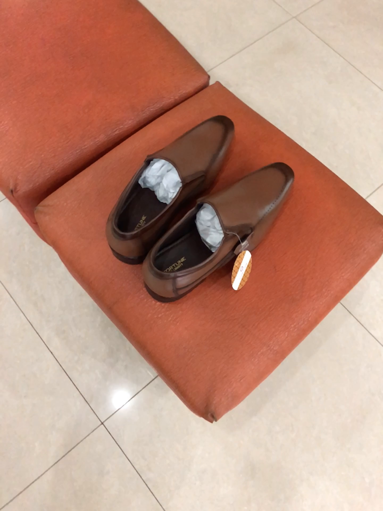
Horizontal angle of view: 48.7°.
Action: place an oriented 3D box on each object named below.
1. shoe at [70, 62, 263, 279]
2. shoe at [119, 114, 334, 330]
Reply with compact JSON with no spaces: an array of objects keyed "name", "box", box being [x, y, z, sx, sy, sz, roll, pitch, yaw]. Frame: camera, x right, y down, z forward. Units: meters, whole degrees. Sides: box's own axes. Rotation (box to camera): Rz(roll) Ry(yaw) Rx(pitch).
[{"name":"shoe","box":[-0.026,-0.125,0.611,0.101,0.108,0.295,34,71,11]},{"name":"shoe","box":[0.049,-0.046,0.594,0.293,0.128,0.099,-42,76,-17]}]
